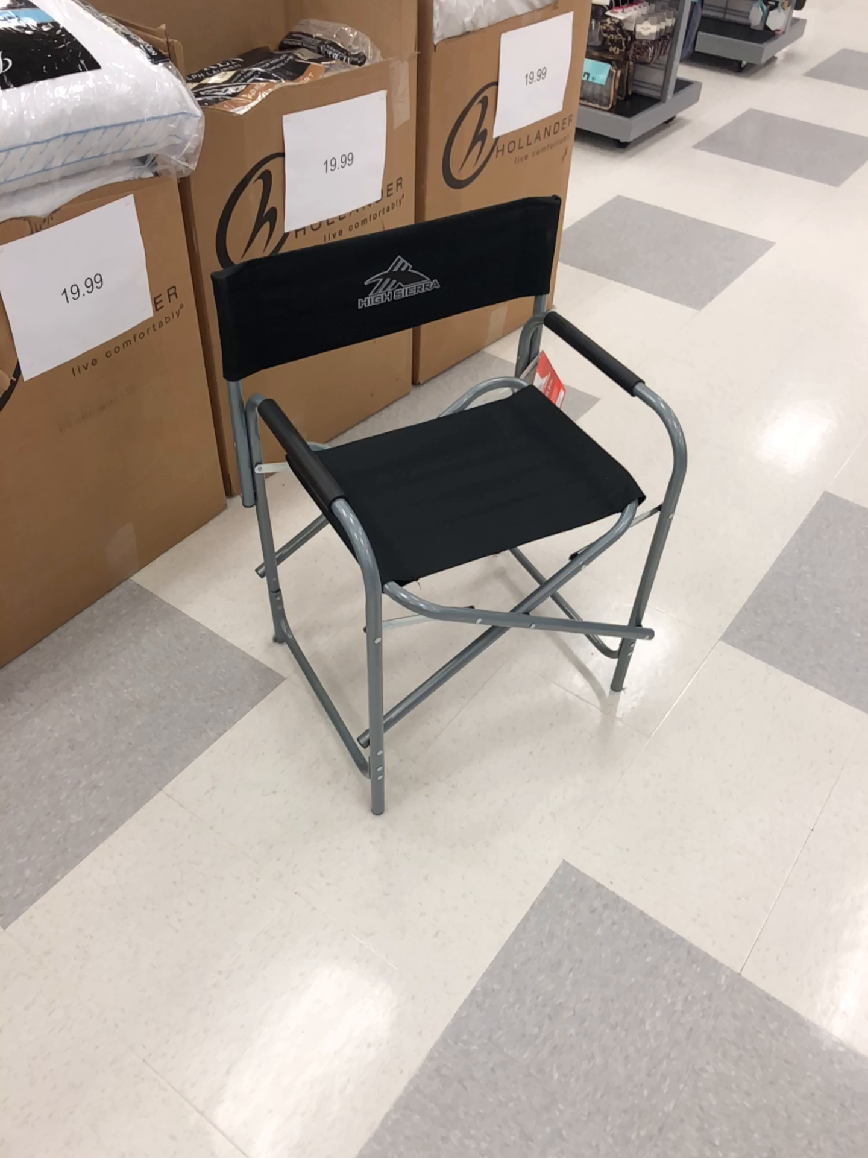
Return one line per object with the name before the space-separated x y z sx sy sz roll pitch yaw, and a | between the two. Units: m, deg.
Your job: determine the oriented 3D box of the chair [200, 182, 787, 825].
chair | 0.059 -0.128 1.537 0.626 0.736 0.499 -21 49 -23
